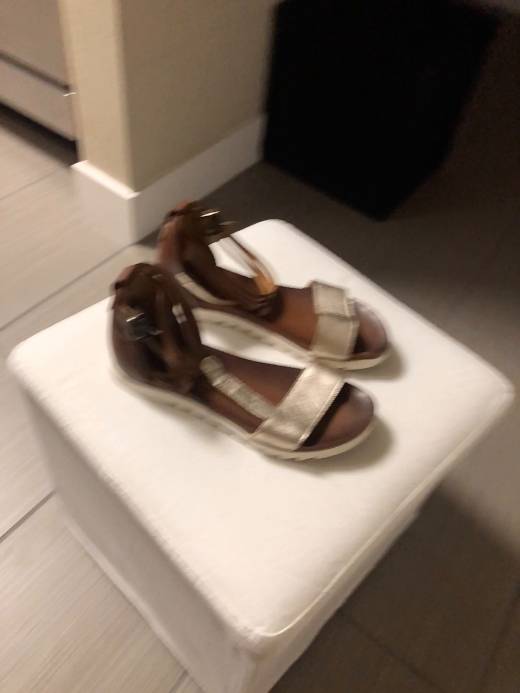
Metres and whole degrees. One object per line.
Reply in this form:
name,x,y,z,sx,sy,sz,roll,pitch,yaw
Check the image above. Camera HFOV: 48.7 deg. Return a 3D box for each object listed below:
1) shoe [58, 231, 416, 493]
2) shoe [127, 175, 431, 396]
shoe,-0.018,0.009,0.486,0.260,0.090,0.110,20,50,8
shoe,0.017,-0.063,0.561,0.260,0.090,0.110,20,50,8
